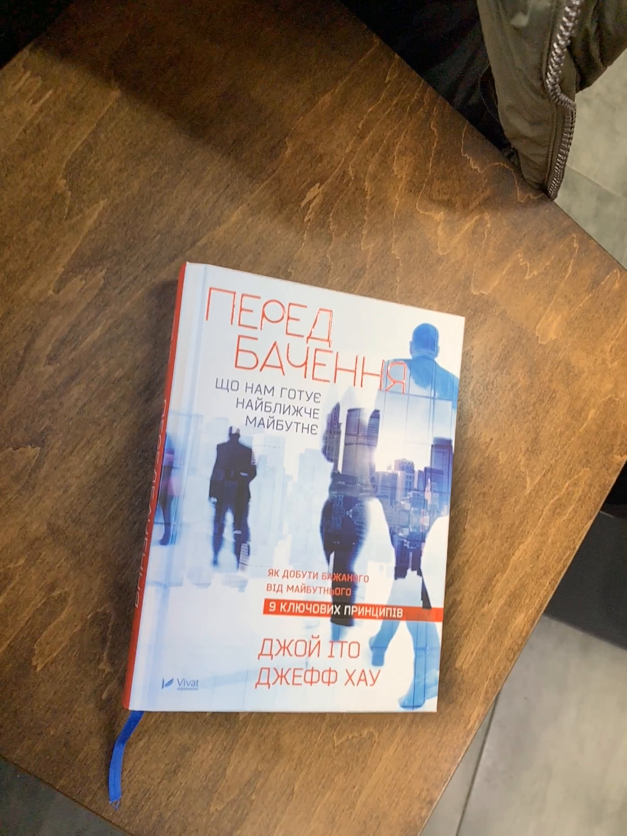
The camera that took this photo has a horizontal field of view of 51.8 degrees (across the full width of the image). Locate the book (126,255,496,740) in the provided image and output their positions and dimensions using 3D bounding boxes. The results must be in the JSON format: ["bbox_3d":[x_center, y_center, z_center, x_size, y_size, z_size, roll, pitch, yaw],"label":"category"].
[{"bbox_3d":[0.003,0.039,0.302,0.149,0.040,0.196,8,82,-17],"label":"book"}]
